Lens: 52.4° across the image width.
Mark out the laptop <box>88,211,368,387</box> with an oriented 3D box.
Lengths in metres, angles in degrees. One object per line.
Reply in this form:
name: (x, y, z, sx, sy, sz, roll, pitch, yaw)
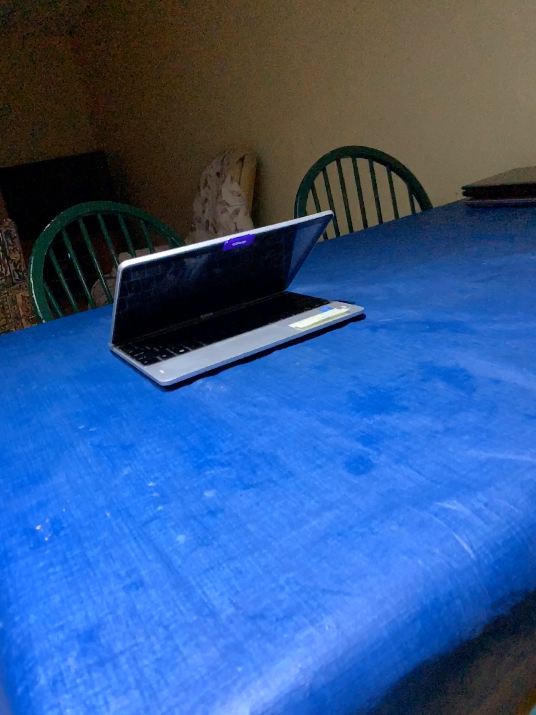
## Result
laptop: (-0.053, -0.093, 0.690, 0.280, 0.122, 0.208, -20, 21, -25)
